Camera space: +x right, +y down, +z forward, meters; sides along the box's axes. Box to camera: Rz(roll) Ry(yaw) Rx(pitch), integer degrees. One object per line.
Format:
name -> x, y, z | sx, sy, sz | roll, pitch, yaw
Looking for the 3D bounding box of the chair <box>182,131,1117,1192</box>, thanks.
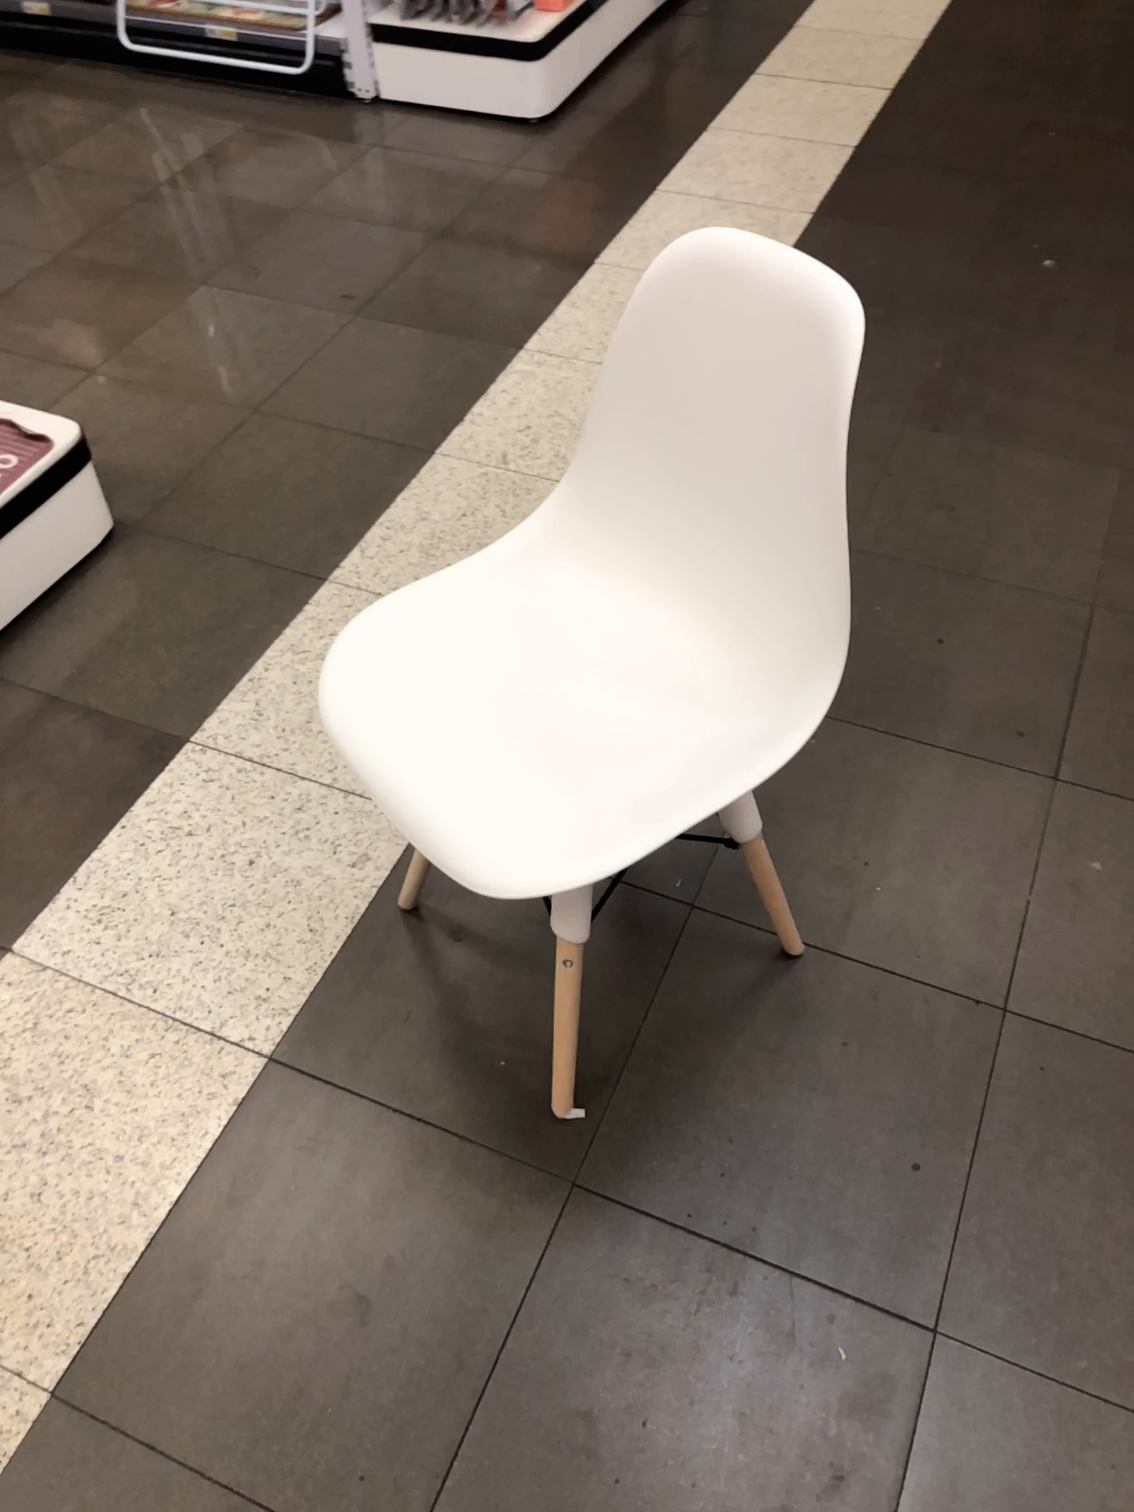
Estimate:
chair -> 0.056, -0.081, 1.275 | 0.541, 0.794, 0.523 | -26, 51, -20
